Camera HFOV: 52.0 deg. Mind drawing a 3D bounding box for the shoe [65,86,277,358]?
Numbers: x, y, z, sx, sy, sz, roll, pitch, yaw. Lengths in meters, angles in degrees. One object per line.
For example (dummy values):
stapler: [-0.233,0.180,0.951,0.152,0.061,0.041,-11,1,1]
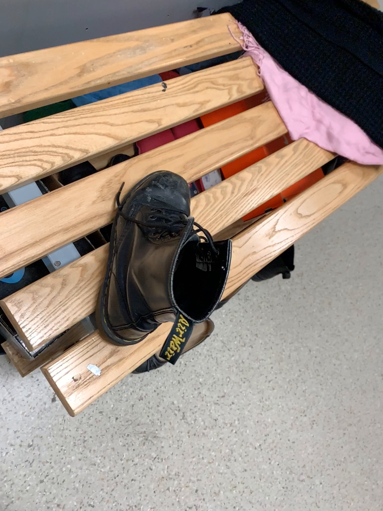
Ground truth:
shoe: [-0.028,-0.023,0.473,0.107,0.199,0.262,27,64,-22]
